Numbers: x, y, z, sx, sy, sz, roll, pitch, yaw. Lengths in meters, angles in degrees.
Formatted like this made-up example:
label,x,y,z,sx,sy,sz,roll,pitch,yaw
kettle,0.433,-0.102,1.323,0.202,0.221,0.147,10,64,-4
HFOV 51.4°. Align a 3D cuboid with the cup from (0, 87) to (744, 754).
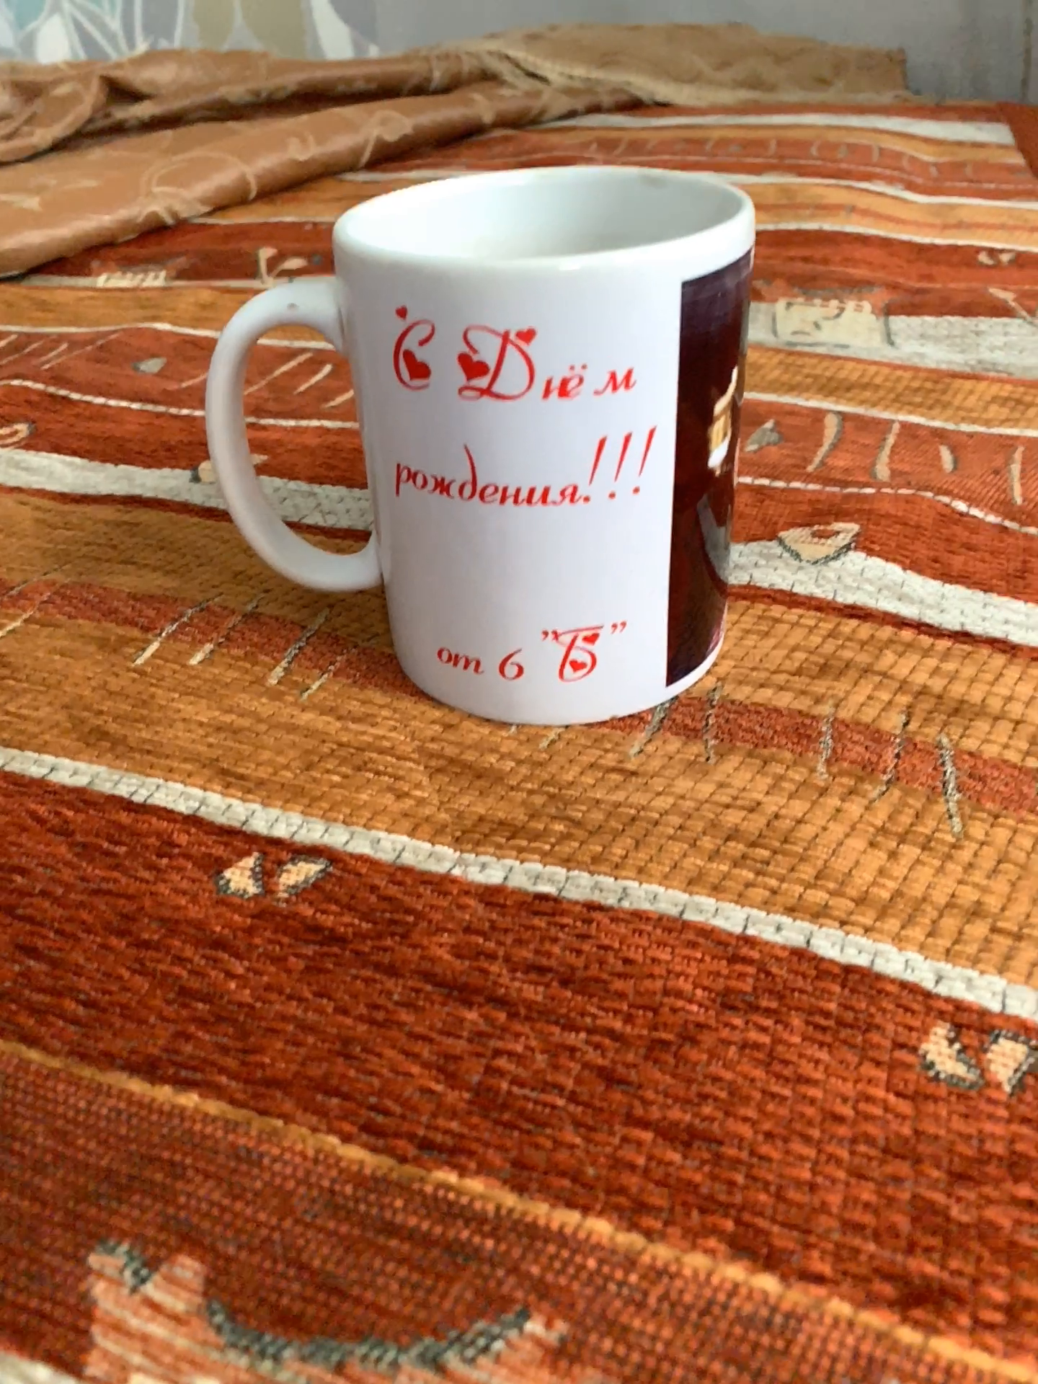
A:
label,x,y,z,sx,sy,sz,roll,pitch,yaw
cup,-0.022,-0.051,0.192,0.110,0.089,0.081,2,34,6
